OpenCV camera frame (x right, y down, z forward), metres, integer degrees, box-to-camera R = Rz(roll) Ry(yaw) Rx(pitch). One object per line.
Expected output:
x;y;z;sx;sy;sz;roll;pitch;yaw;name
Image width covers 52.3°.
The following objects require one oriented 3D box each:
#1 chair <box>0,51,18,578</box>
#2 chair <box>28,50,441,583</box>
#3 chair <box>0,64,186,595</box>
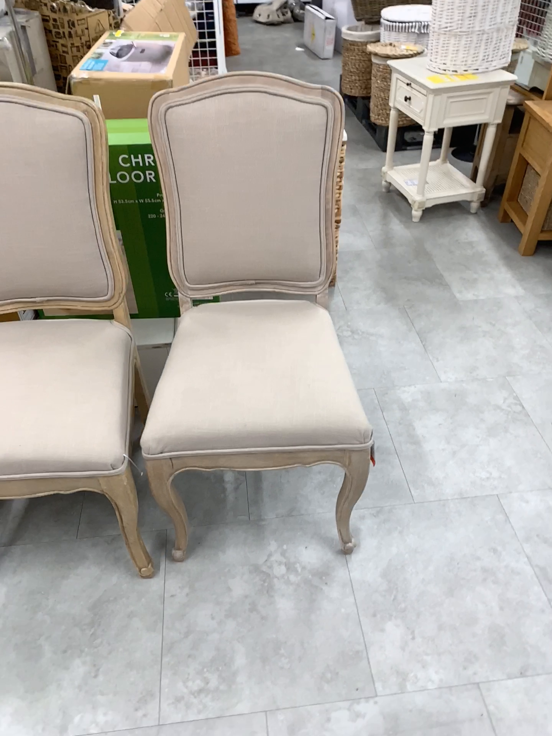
-1.062;-0.059;1.209;0.506;0.972;0.551;-2;42;1;chair
-0.055;-0.061;1.217;0.506;0.972;0.551;-5;42;-3;chair
-0.542;-0.026;1.194;0.506;0.972;0.551;-2;42;1;chair
